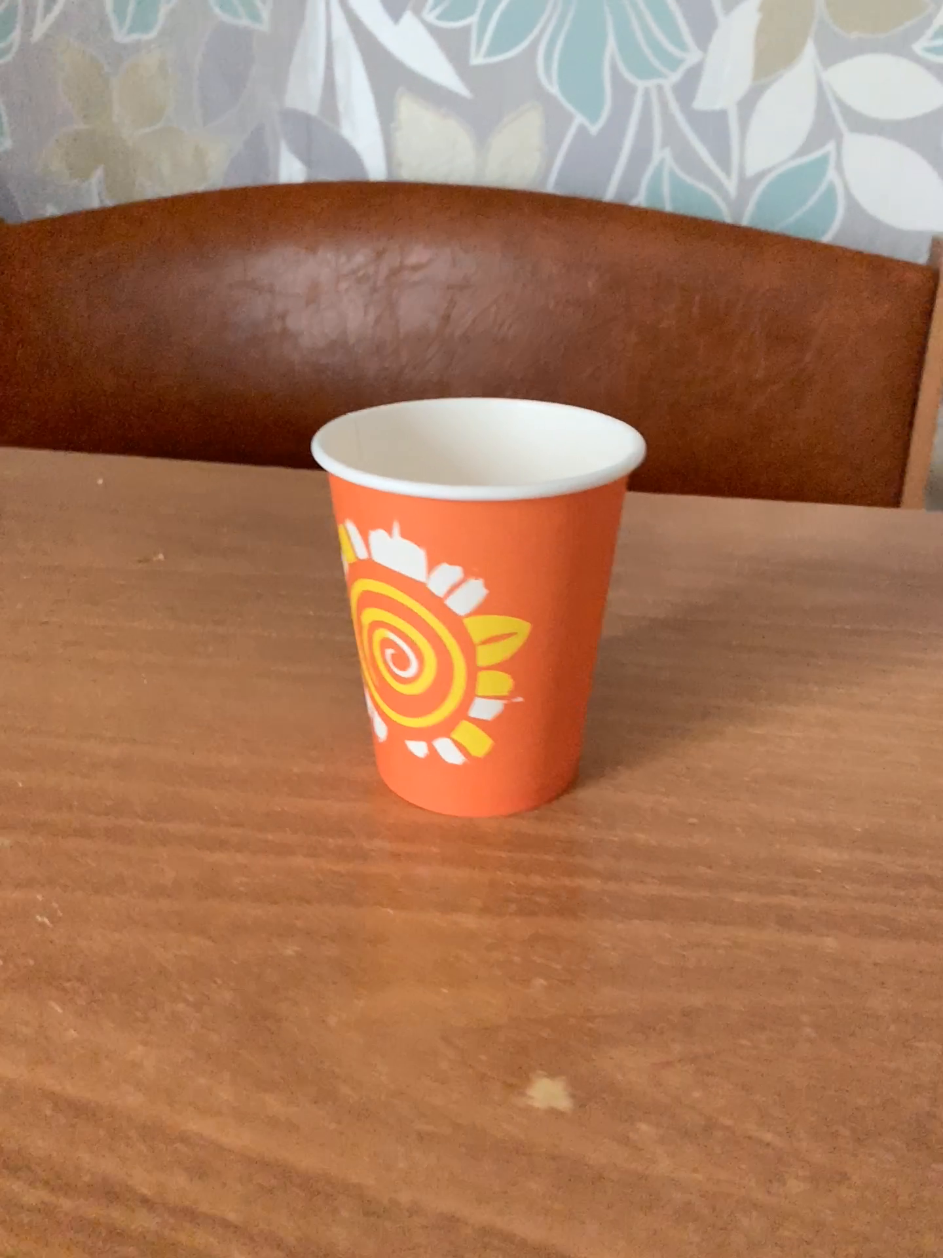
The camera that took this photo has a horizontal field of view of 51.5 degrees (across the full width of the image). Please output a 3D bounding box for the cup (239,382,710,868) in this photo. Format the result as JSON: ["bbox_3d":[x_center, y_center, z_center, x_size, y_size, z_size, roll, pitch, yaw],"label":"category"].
[{"bbox_3d":[0.001,-0.009,0.252,0.081,0.083,0.079,0,26,0],"label":"cup"}]
